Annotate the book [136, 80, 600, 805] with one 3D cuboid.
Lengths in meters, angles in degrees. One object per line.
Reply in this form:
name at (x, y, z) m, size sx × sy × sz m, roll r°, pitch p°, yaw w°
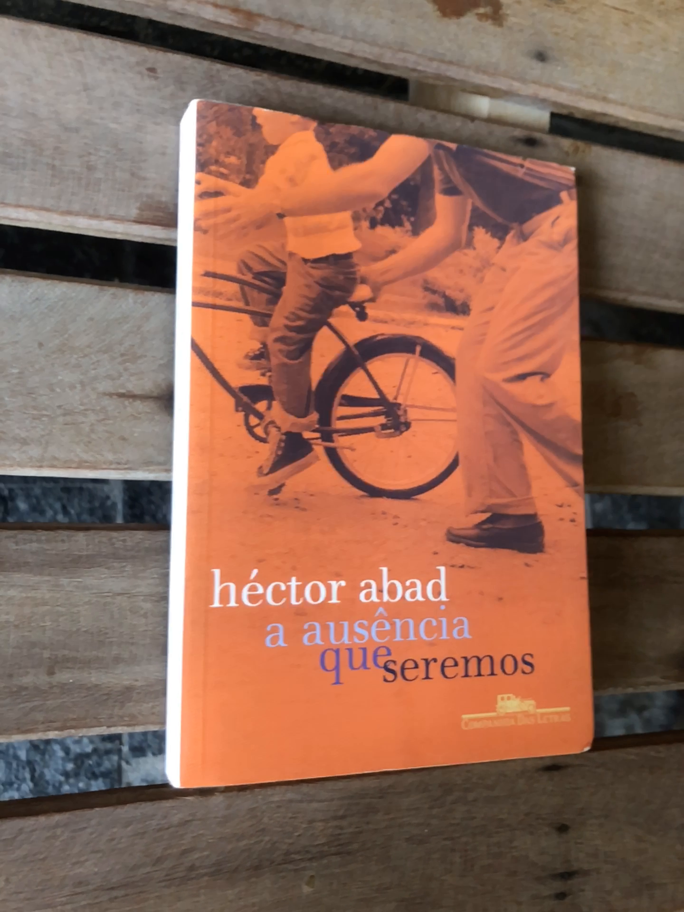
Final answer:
book at (0.012, -0.005, 0.242) m, size 0.143 × 0.020 × 0.200 m, roll 2°, pitch 84°, yaw -18°
